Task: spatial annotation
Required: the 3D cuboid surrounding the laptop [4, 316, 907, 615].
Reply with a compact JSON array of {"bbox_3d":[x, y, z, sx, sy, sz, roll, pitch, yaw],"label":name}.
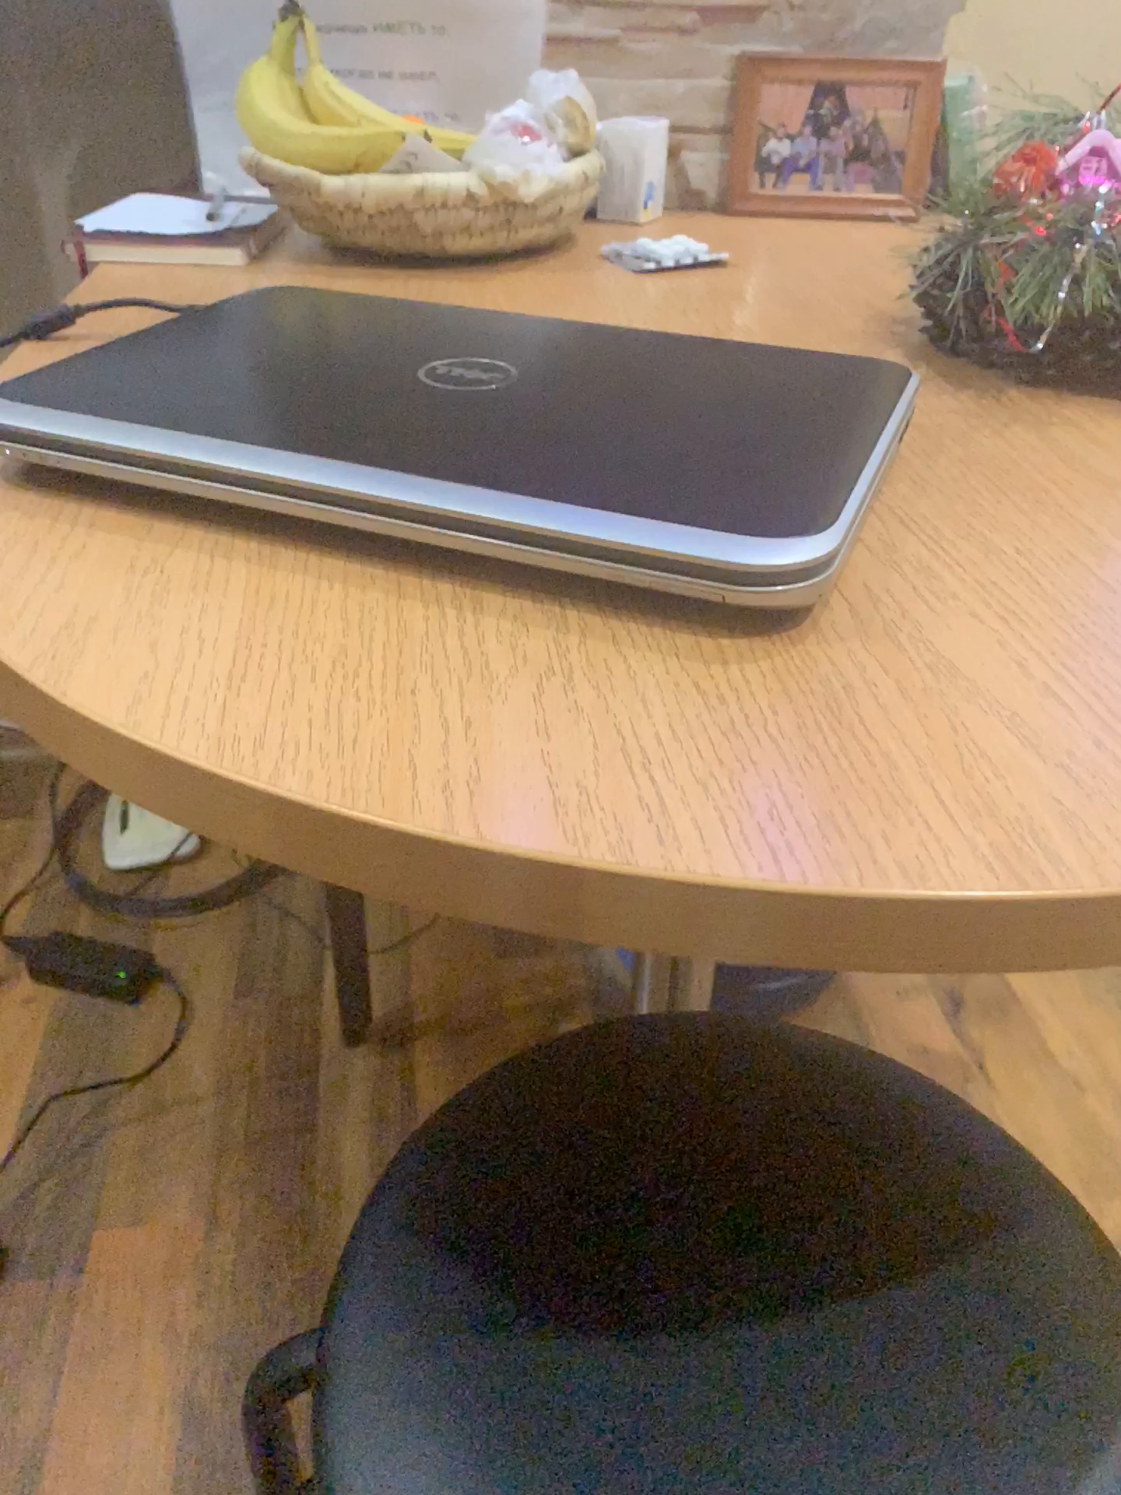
[{"bbox_3d":[-0.039,-0.147,0.527,0.349,0.004,0.226,14,38,20],"label":"laptop"}]
